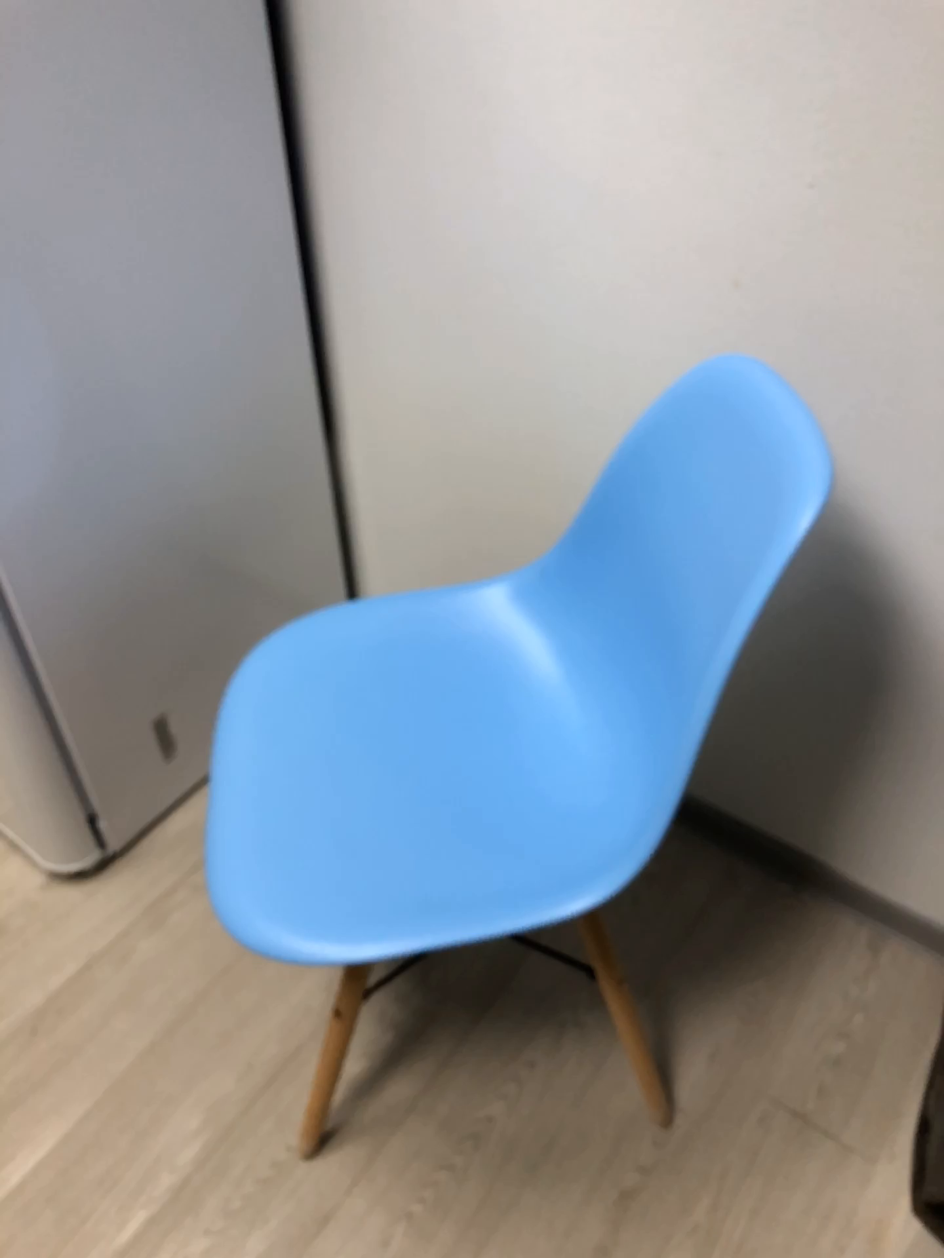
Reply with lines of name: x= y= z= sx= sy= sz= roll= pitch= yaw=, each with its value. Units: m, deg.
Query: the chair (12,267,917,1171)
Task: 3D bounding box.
chair: x=-0.003 y=0.123 z=1.045 sx=0.530 sy=0.775 sz=0.463 roll=-3 pitch=41 yaw=-1
